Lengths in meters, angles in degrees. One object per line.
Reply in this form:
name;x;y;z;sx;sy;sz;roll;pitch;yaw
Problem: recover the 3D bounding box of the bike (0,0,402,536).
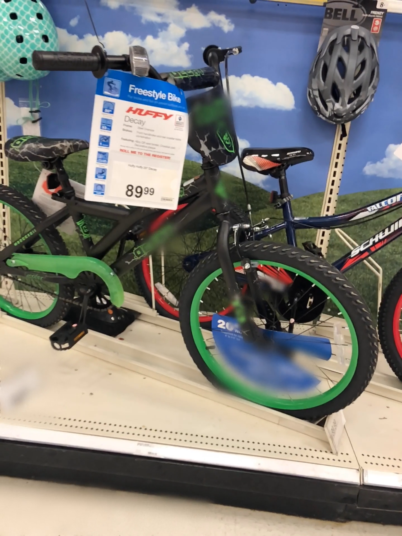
bike;-0.220;-0.142;1.142;1.361;0.880;0.630;12;19;21
